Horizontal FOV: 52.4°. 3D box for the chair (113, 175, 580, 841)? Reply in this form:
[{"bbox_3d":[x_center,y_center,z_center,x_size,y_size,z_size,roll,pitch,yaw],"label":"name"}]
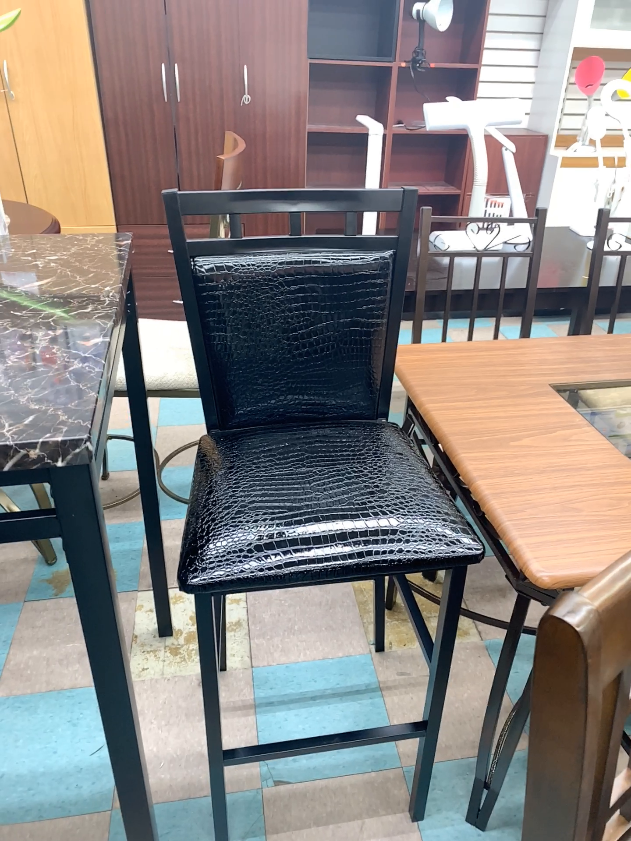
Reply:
[{"bbox_3d":[0.003,0.184,1.034,0.444,1.026,0.419,-3,30,-7],"label":"chair"}]
